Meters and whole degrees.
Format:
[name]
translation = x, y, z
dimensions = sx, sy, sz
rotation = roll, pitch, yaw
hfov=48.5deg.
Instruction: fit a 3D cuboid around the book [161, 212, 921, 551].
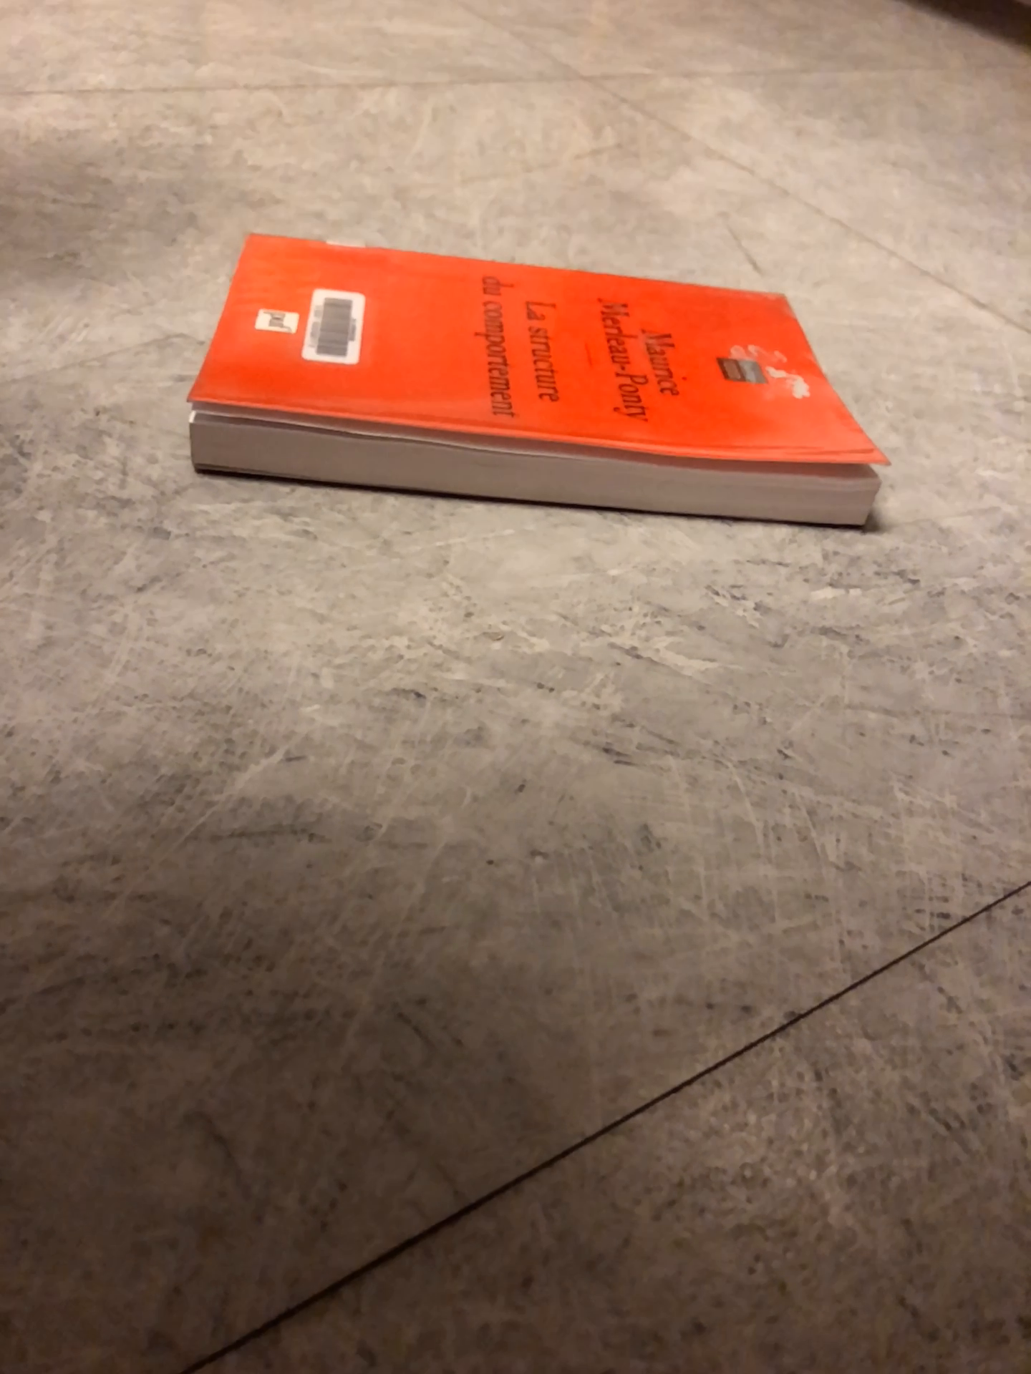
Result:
[book]
translation = 0.007, -0.099, 0.354
dimensions = 0.200, 0.020, 0.136
rotation = 4, 43, -7
